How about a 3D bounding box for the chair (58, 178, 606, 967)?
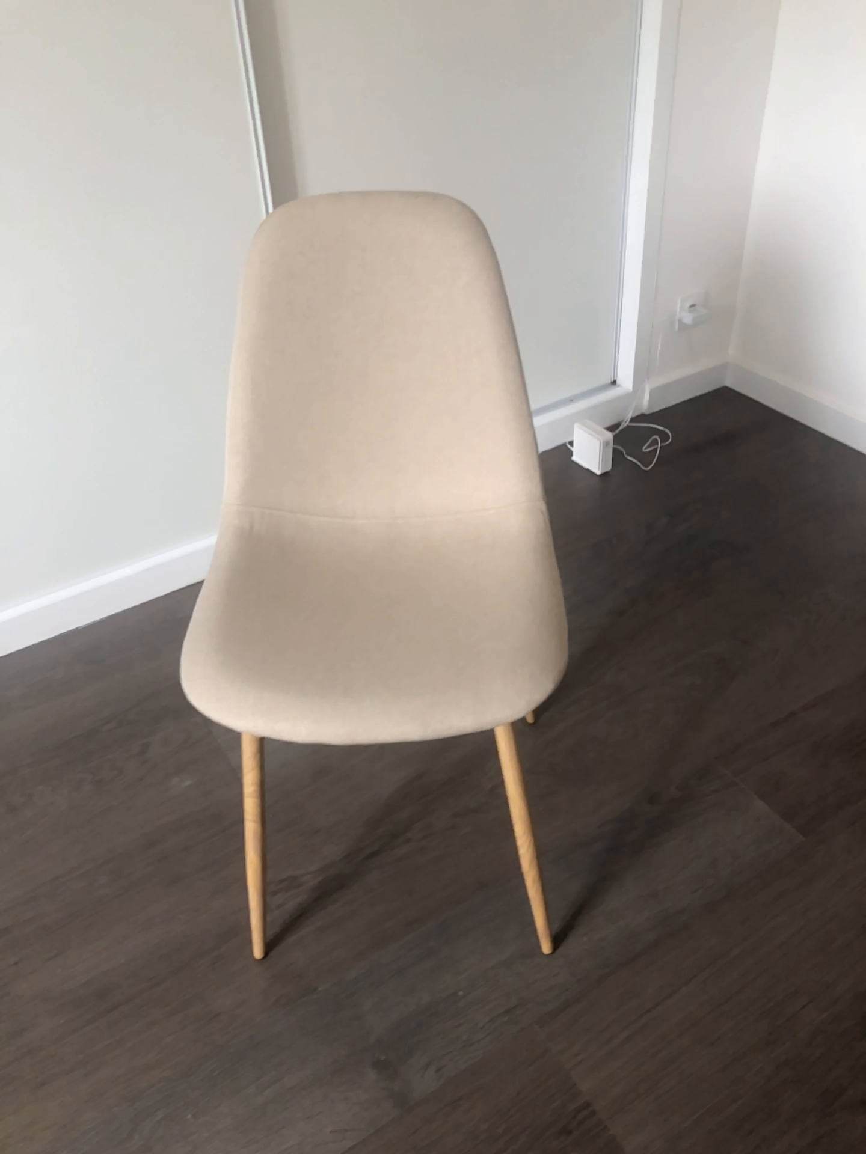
[{"bbox_3d":[-0.051,0.016,1.187,0.430,0.845,0.503,0,37,4],"label":"chair"}]
